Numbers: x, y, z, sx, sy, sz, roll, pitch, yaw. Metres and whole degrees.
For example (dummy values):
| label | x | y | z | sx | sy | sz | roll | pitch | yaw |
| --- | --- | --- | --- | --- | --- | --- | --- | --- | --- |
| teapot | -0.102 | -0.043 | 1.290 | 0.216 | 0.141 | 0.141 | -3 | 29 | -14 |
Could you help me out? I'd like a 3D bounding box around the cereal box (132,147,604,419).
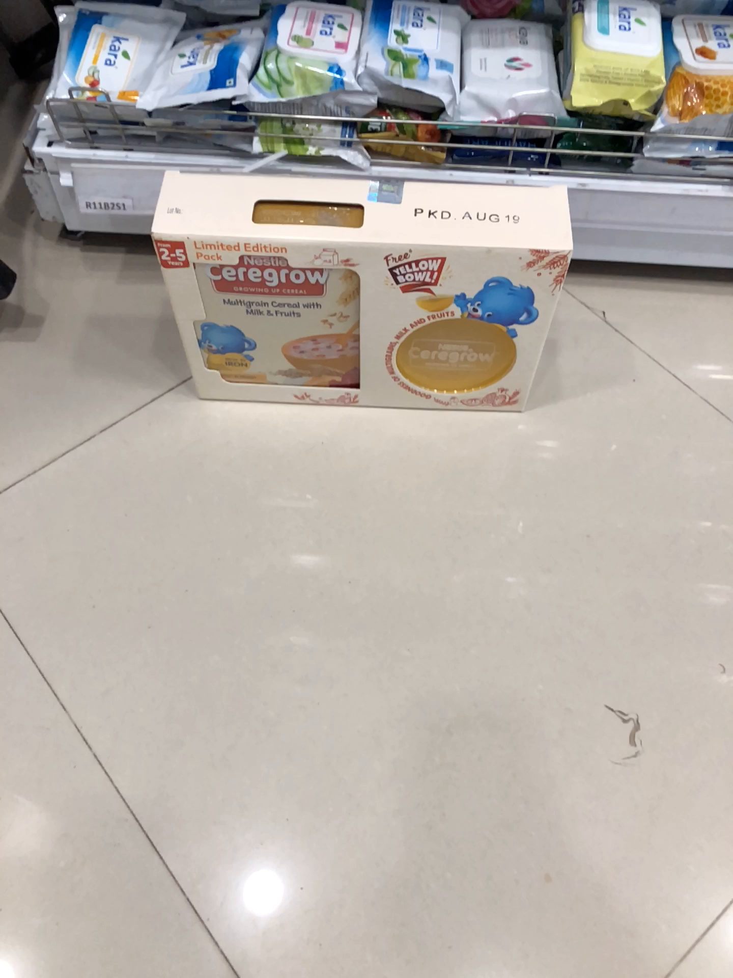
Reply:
| label | x | y | z | sx | sy | sz | roll | pitch | yaw |
| --- | --- | --- | --- | --- | --- | --- | --- | --- | --- |
| cereal box | 0.001 | -0.151 | 0.638 | 0.310 | 0.209 | 0.070 | 3 | 61 | 1 |
